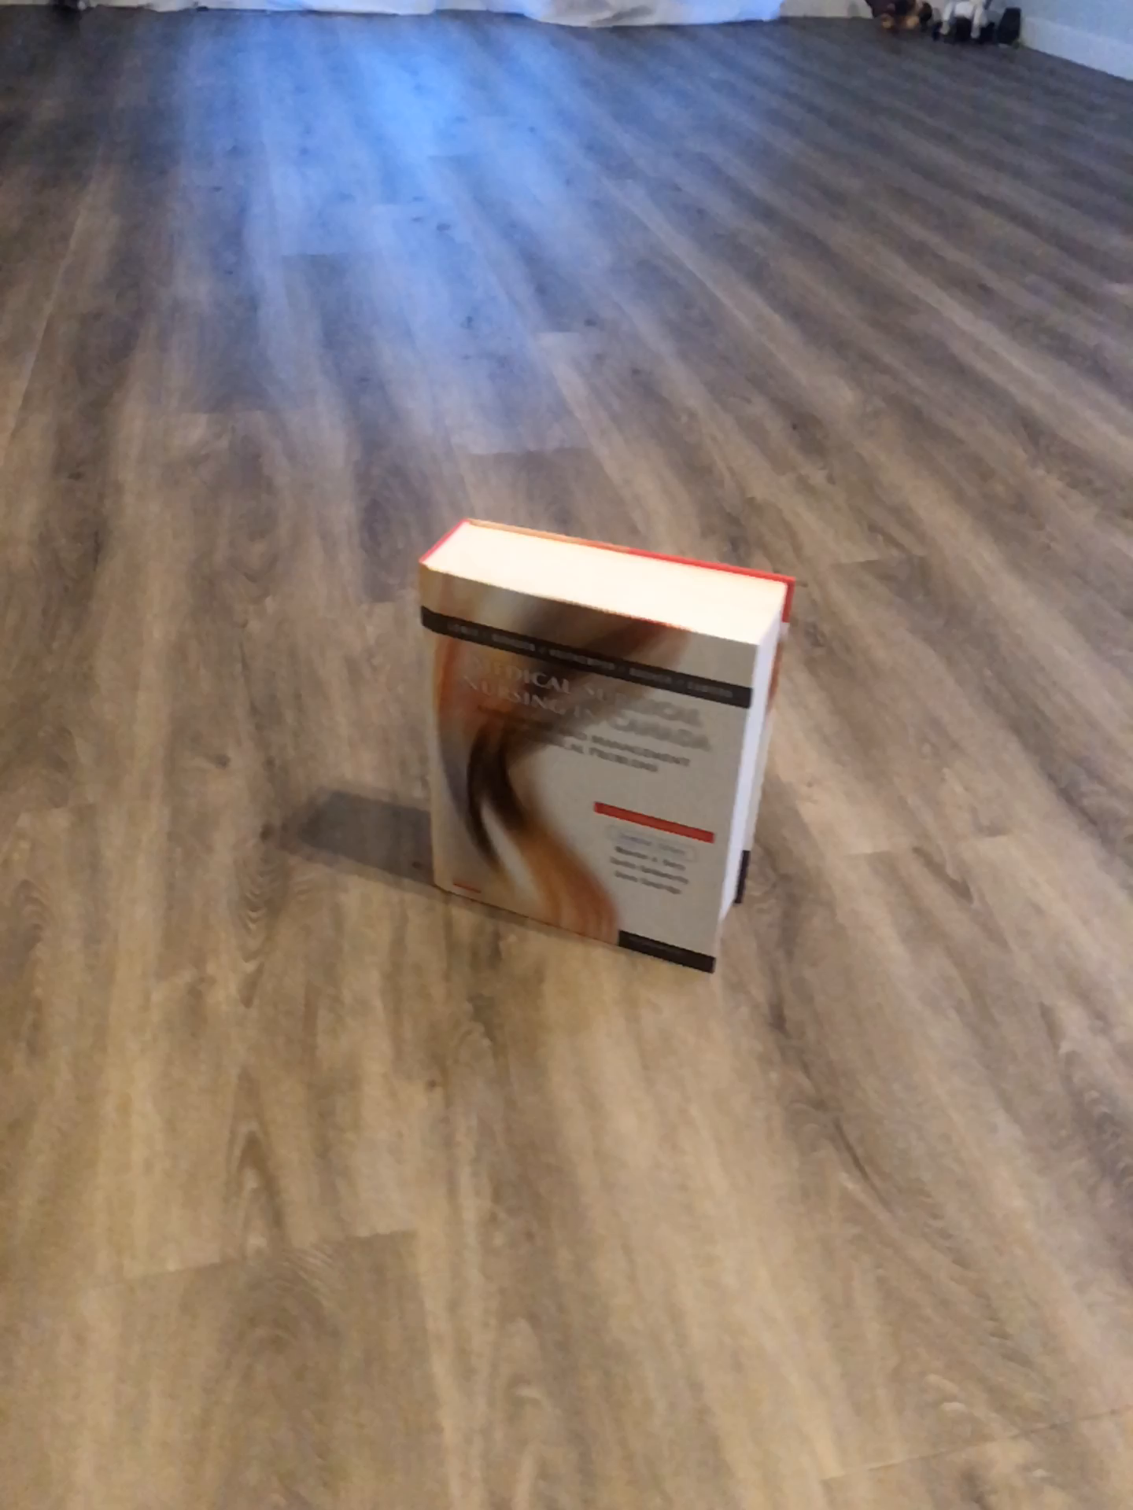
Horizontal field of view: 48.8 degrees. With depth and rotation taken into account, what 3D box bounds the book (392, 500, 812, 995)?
[{"bbox_3d":[0.017,0.000,0.845,0.240,0.290,0.087,14,39,15],"label":"book"}]
